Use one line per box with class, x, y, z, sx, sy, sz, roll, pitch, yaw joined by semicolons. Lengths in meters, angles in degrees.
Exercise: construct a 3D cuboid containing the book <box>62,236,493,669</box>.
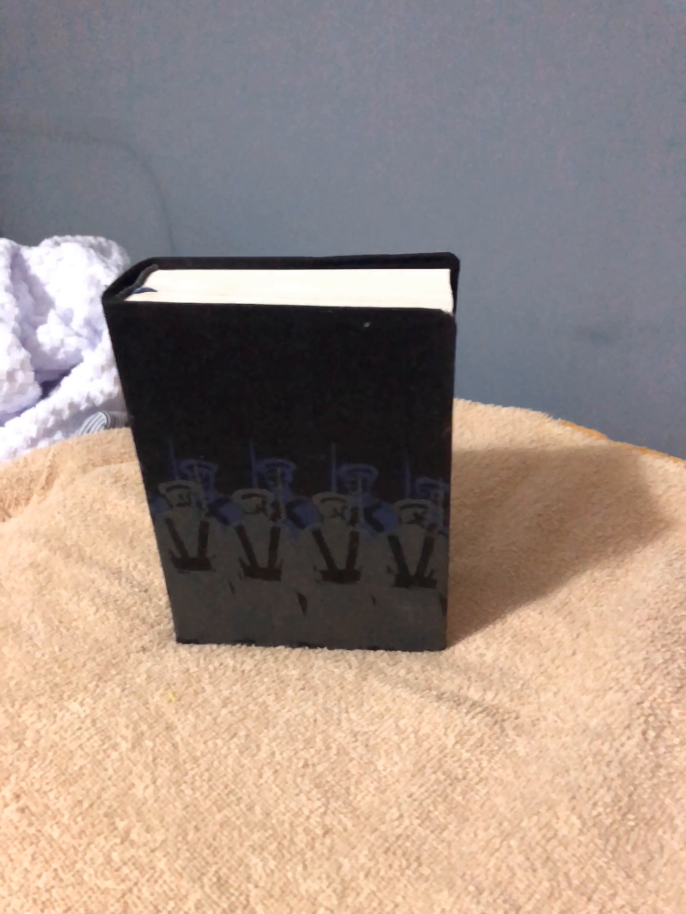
book;-0.017;0.004;0.332;0.150;0.179;0.060;0;31;6
